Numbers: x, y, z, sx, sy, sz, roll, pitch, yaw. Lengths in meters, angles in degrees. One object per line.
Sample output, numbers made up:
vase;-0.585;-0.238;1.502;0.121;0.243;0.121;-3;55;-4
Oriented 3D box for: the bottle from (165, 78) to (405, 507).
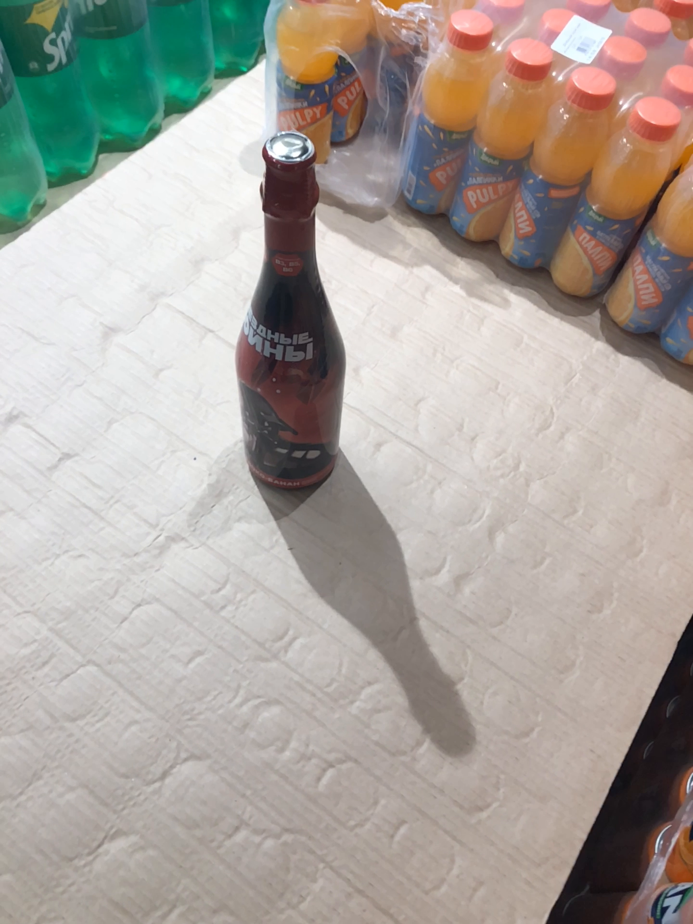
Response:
bottle;-0.039;-0.086;0.504;0.086;0.279;0.085;2;60;-4
